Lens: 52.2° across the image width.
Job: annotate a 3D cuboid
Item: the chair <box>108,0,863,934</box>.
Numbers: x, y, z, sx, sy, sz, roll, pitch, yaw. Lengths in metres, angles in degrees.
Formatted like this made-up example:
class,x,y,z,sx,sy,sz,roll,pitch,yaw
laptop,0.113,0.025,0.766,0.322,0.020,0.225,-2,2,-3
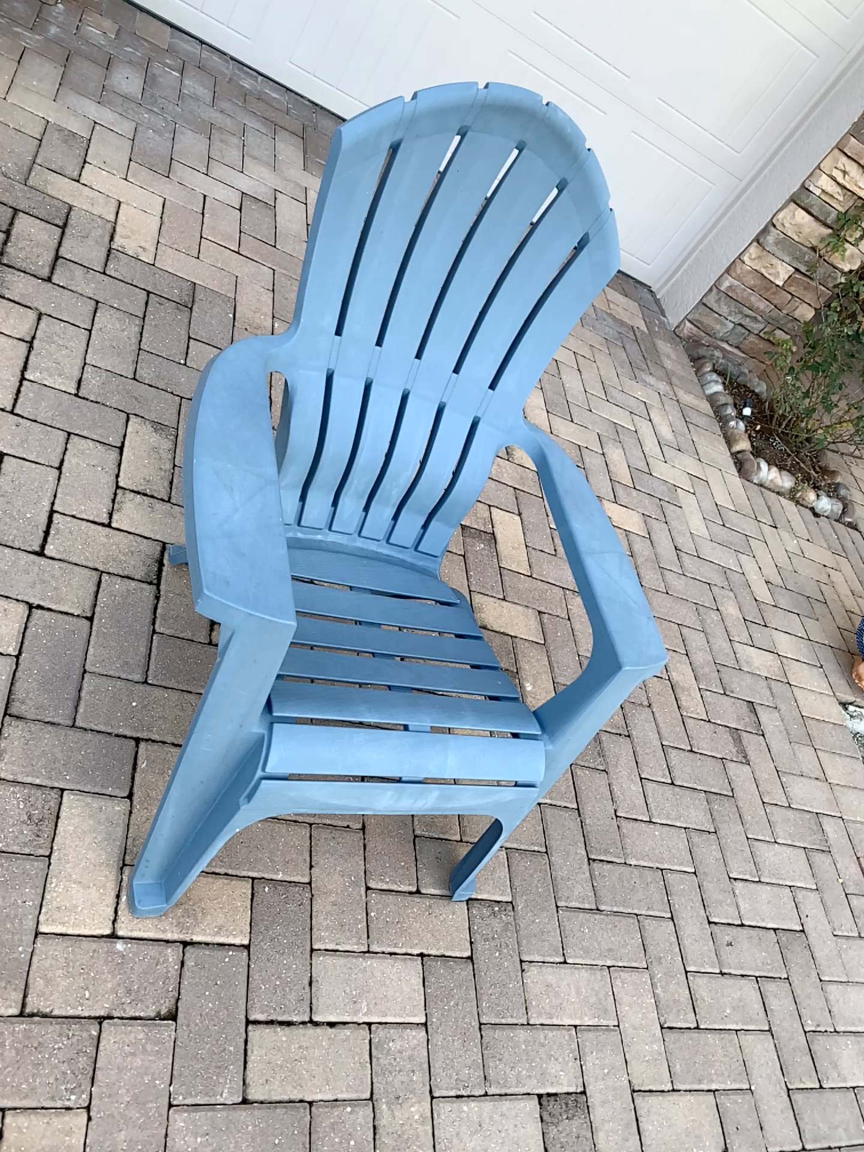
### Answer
class,x,y,z,sx,sy,sz,roll,pitch,yaw
chair,0.022,-0.083,1.293,0.683,0.985,0.799,11,45,-32
